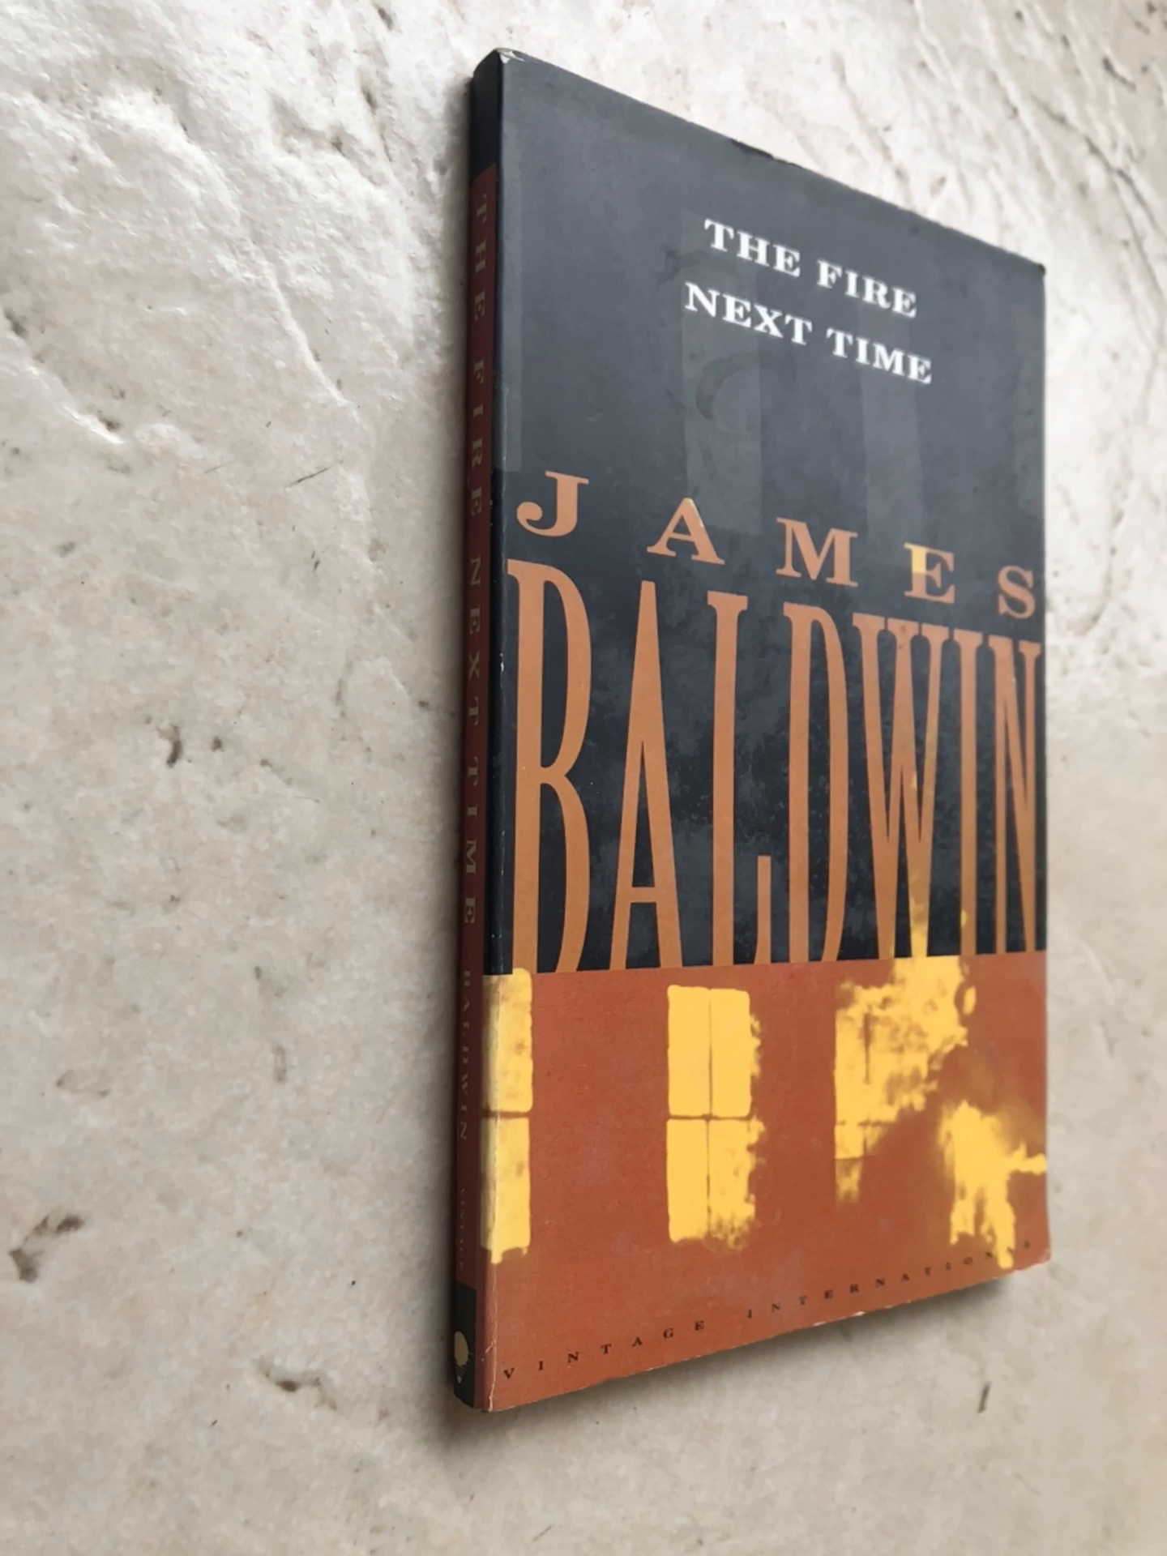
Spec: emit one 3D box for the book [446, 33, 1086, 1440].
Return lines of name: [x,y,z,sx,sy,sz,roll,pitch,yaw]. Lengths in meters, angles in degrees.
book: [0.039,-0.006,0.229,0.131,0.016,0.200,3,86,-34]
